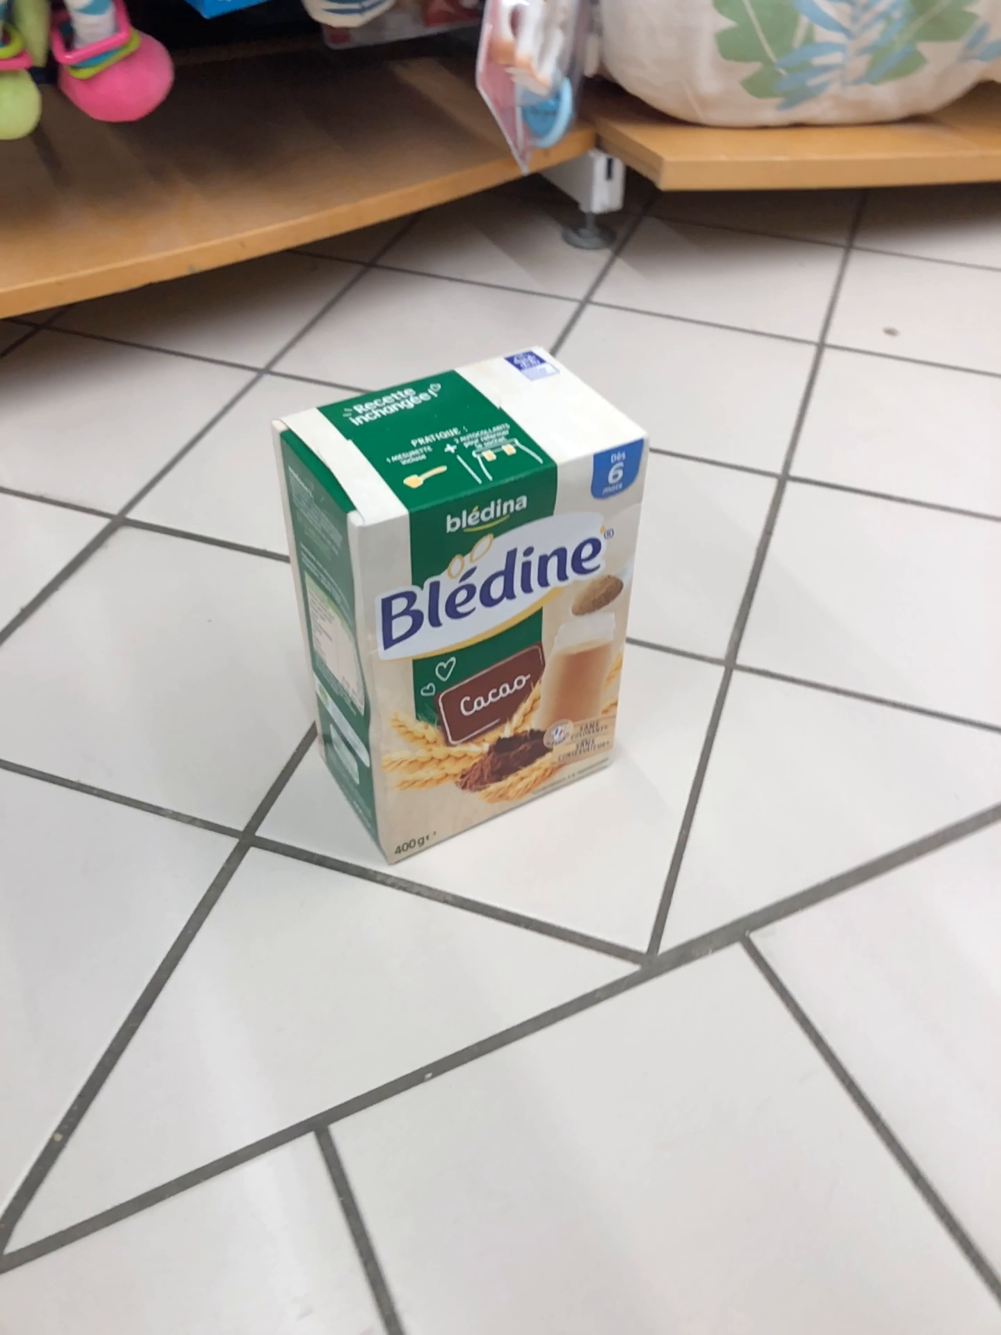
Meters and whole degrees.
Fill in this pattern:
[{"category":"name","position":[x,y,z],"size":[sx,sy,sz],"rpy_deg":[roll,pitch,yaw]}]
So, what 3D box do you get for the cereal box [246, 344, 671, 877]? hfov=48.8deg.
[{"category":"cereal box","position":[-0.018,-0.023,0.496],"size":[0.140,0.189,0.090],"rpy_deg":[-22,48,-23]}]
